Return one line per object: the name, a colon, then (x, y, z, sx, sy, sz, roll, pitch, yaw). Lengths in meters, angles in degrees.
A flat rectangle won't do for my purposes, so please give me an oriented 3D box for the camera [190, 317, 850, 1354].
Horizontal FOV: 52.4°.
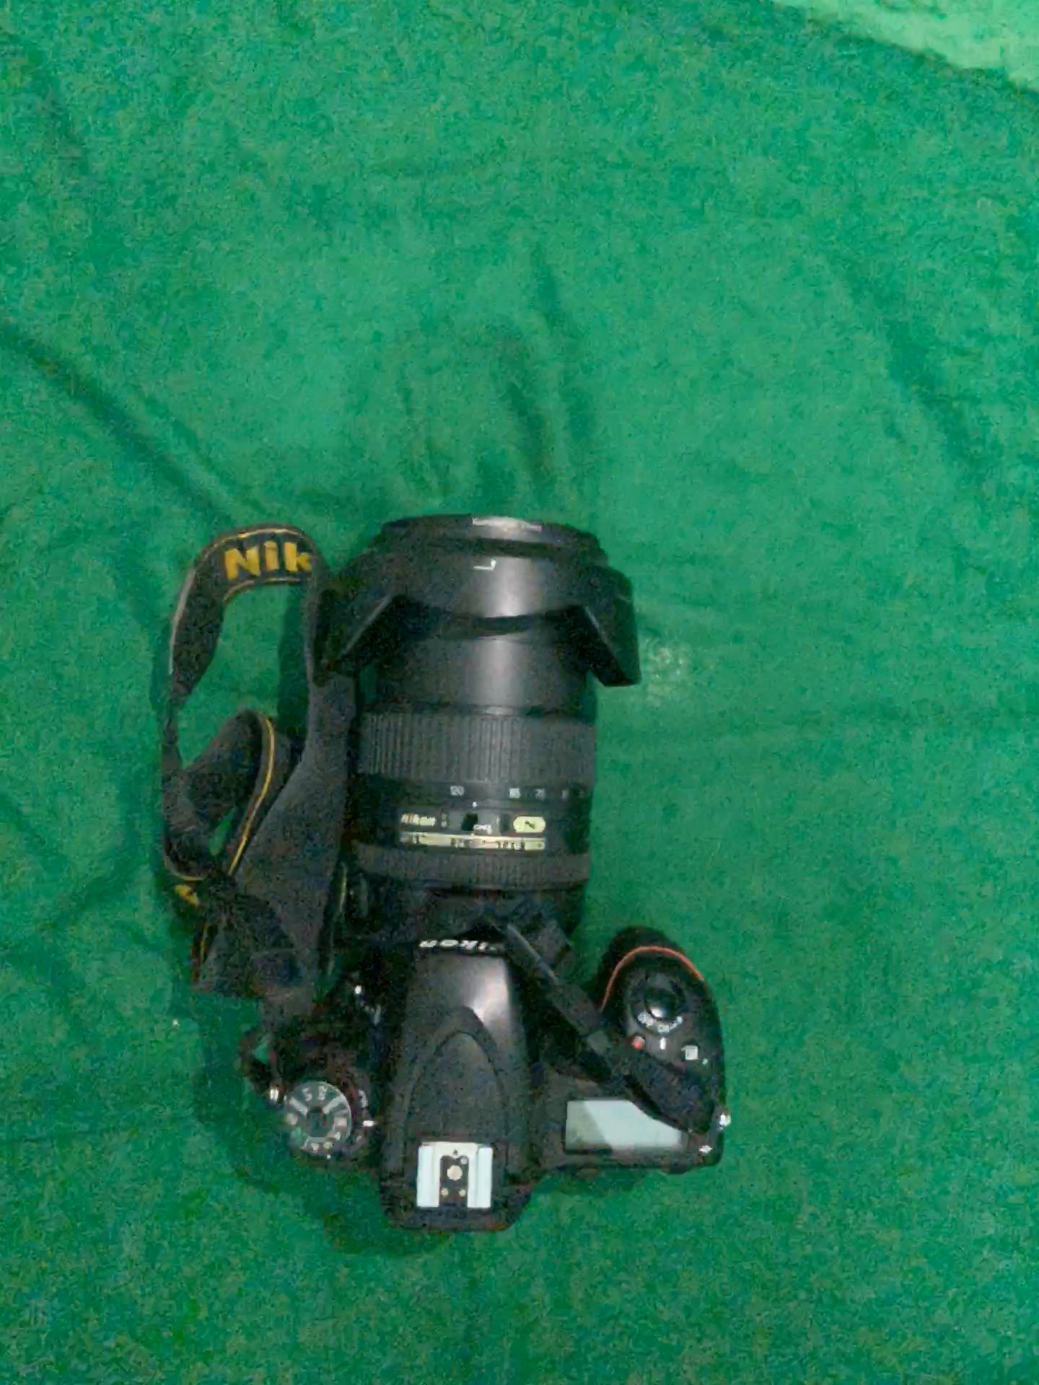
camera: (0.005, 0.040, 0.362, 0.170, 0.100, 0.290, 5, 83, -1)
